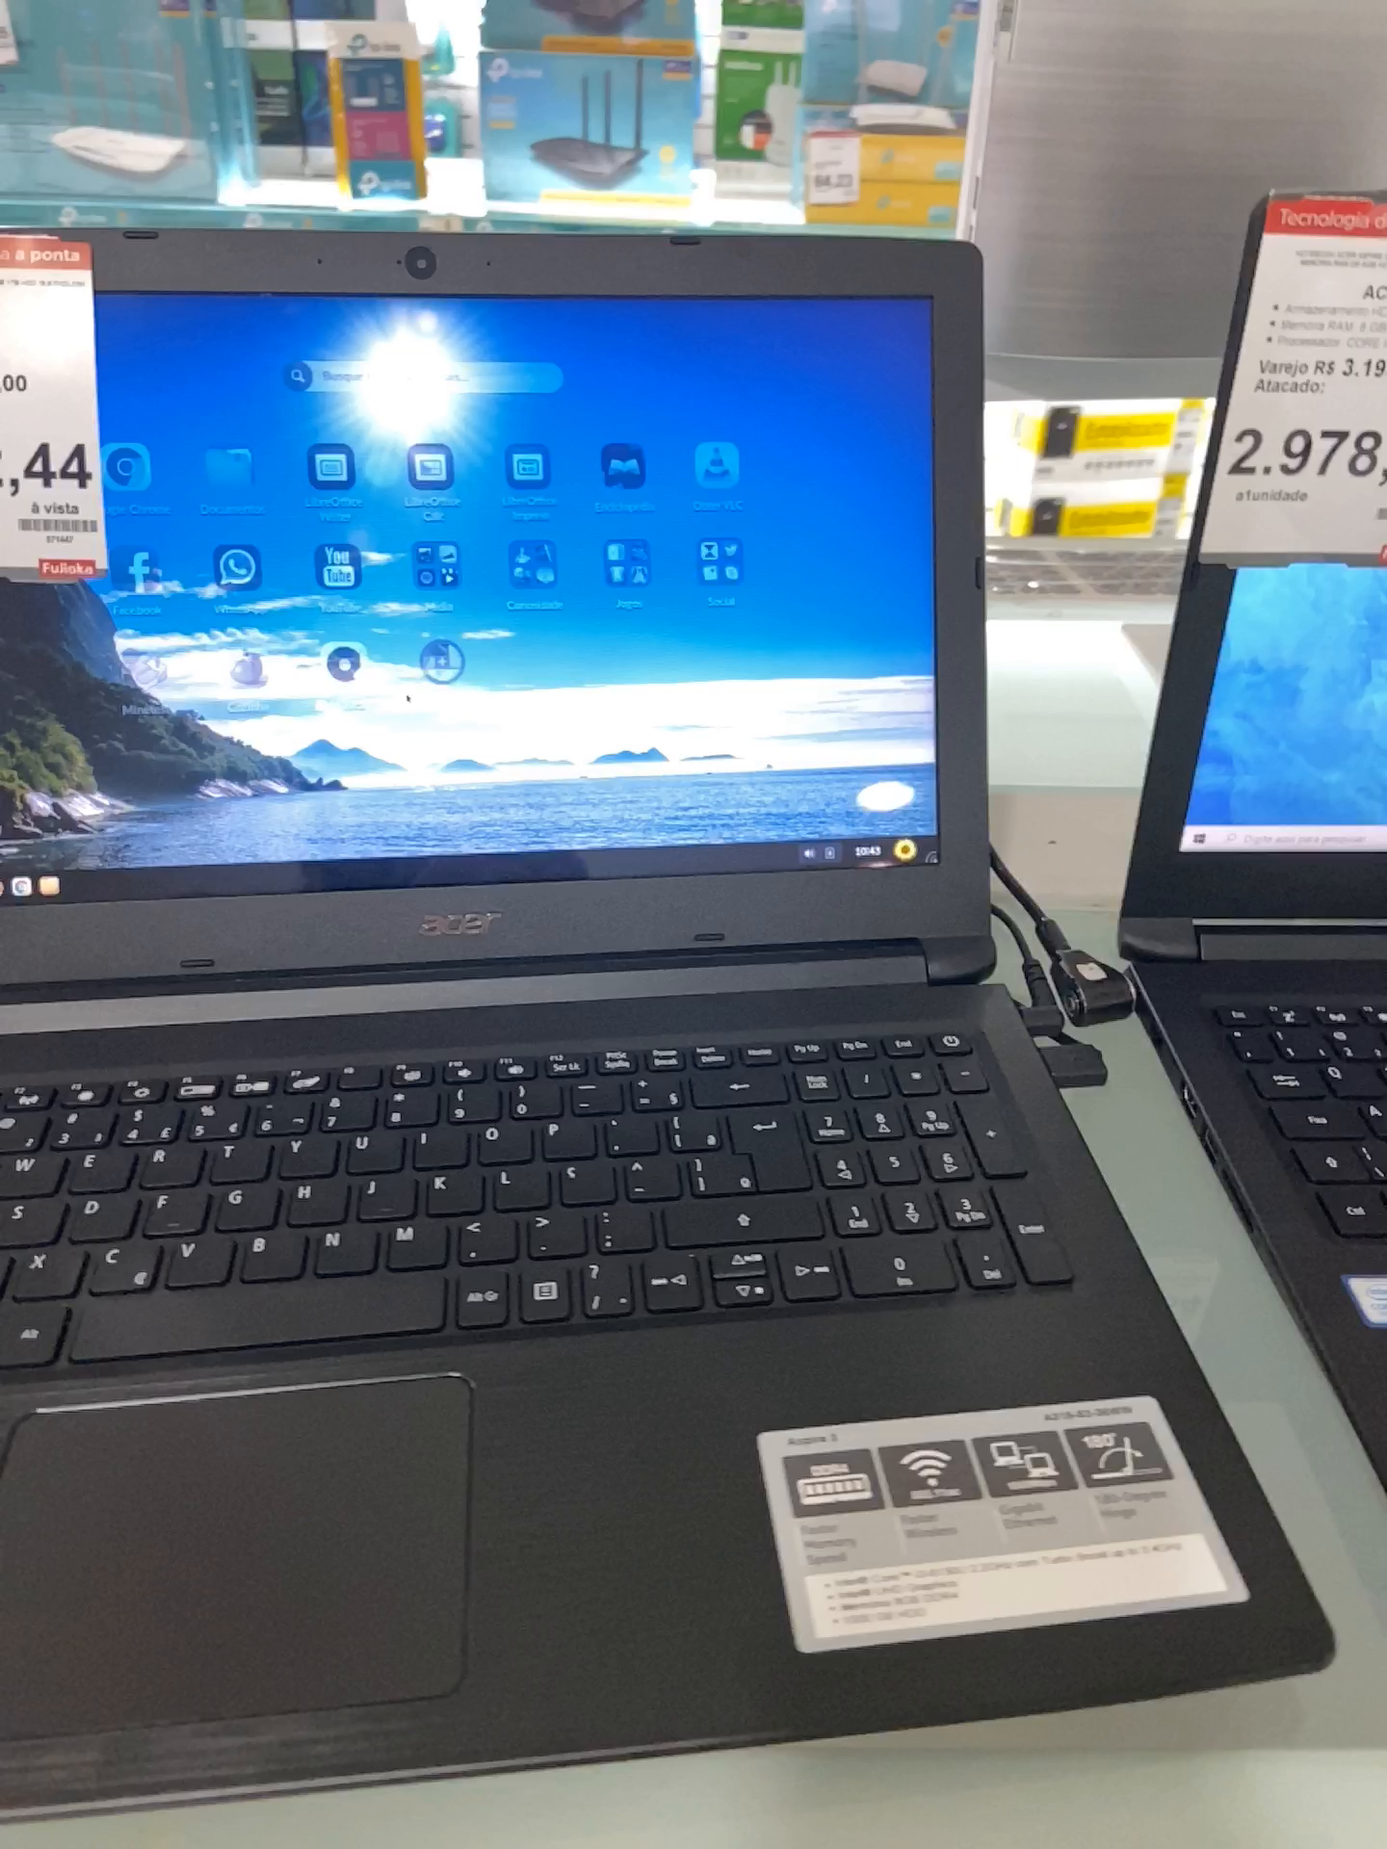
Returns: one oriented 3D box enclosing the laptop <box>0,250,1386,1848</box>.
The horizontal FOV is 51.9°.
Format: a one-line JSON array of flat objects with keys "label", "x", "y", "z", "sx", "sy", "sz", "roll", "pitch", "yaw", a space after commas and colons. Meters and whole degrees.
[{"label": "laptop", "x": -0.073, "y": -0.030, "z": 0.380, "sx": 0.389, "sy": 0.226, "sz": 0.377, "roll": -3, "pitch": 32, "yaw": -6}]
